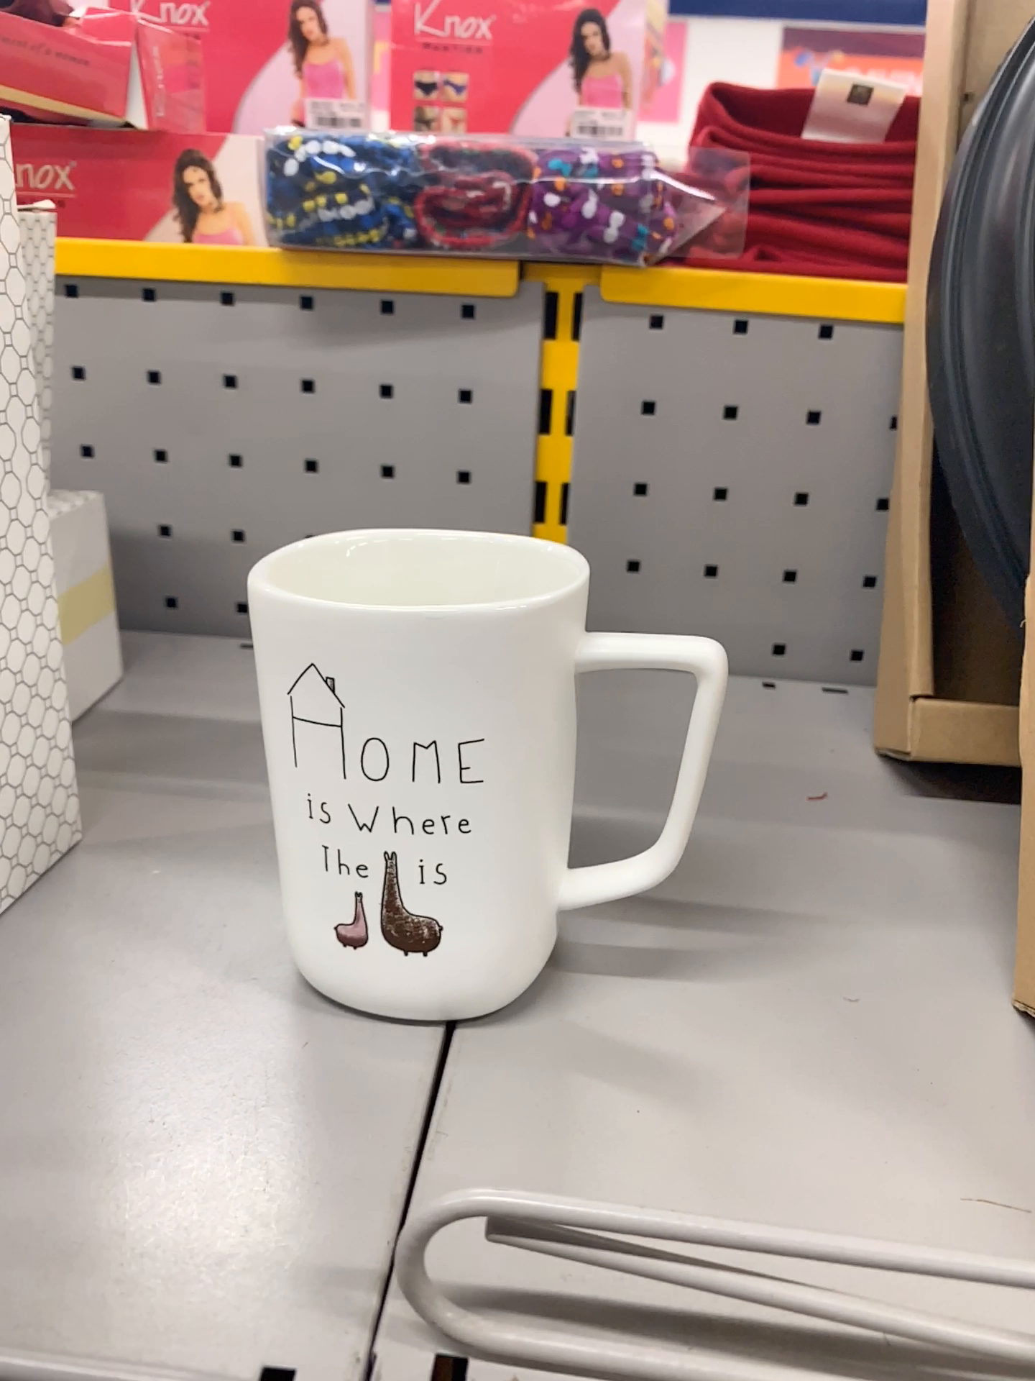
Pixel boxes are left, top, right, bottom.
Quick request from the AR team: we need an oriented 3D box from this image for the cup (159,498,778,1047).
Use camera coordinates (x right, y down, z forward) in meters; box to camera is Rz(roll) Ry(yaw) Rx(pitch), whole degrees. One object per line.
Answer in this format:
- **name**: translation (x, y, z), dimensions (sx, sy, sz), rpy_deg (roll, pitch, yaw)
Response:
- **cup**: translation (-0.010, 0.015, 0.257), dimensions (0.120, 0.100, 0.070), rpy_deg (5, 22, 4)
